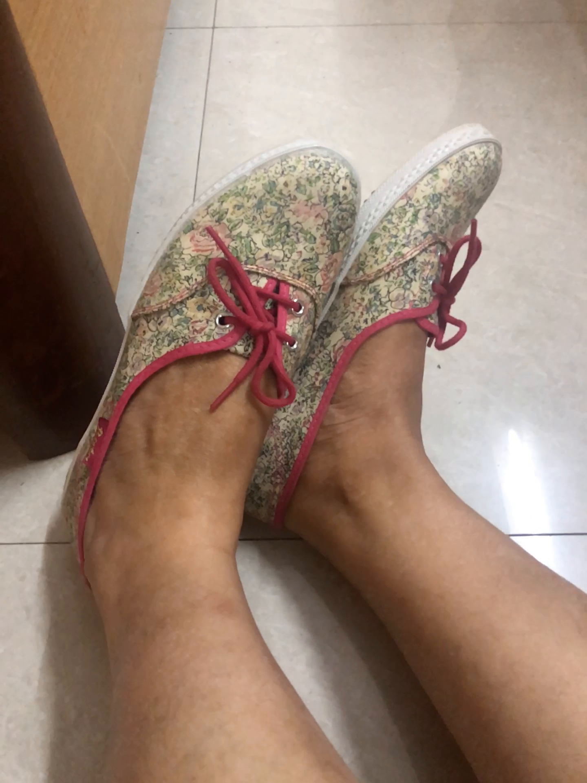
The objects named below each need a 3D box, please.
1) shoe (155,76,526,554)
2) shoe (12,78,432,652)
[{"bbox_3d":[0.030,-0.035,0.386,0.070,0.090,0.260,33,97,31],"label":"shoe"},{"bbox_3d":[-0.043,-0.007,0.327,0.260,0.090,0.070,-63,30,7],"label":"shoe"}]
